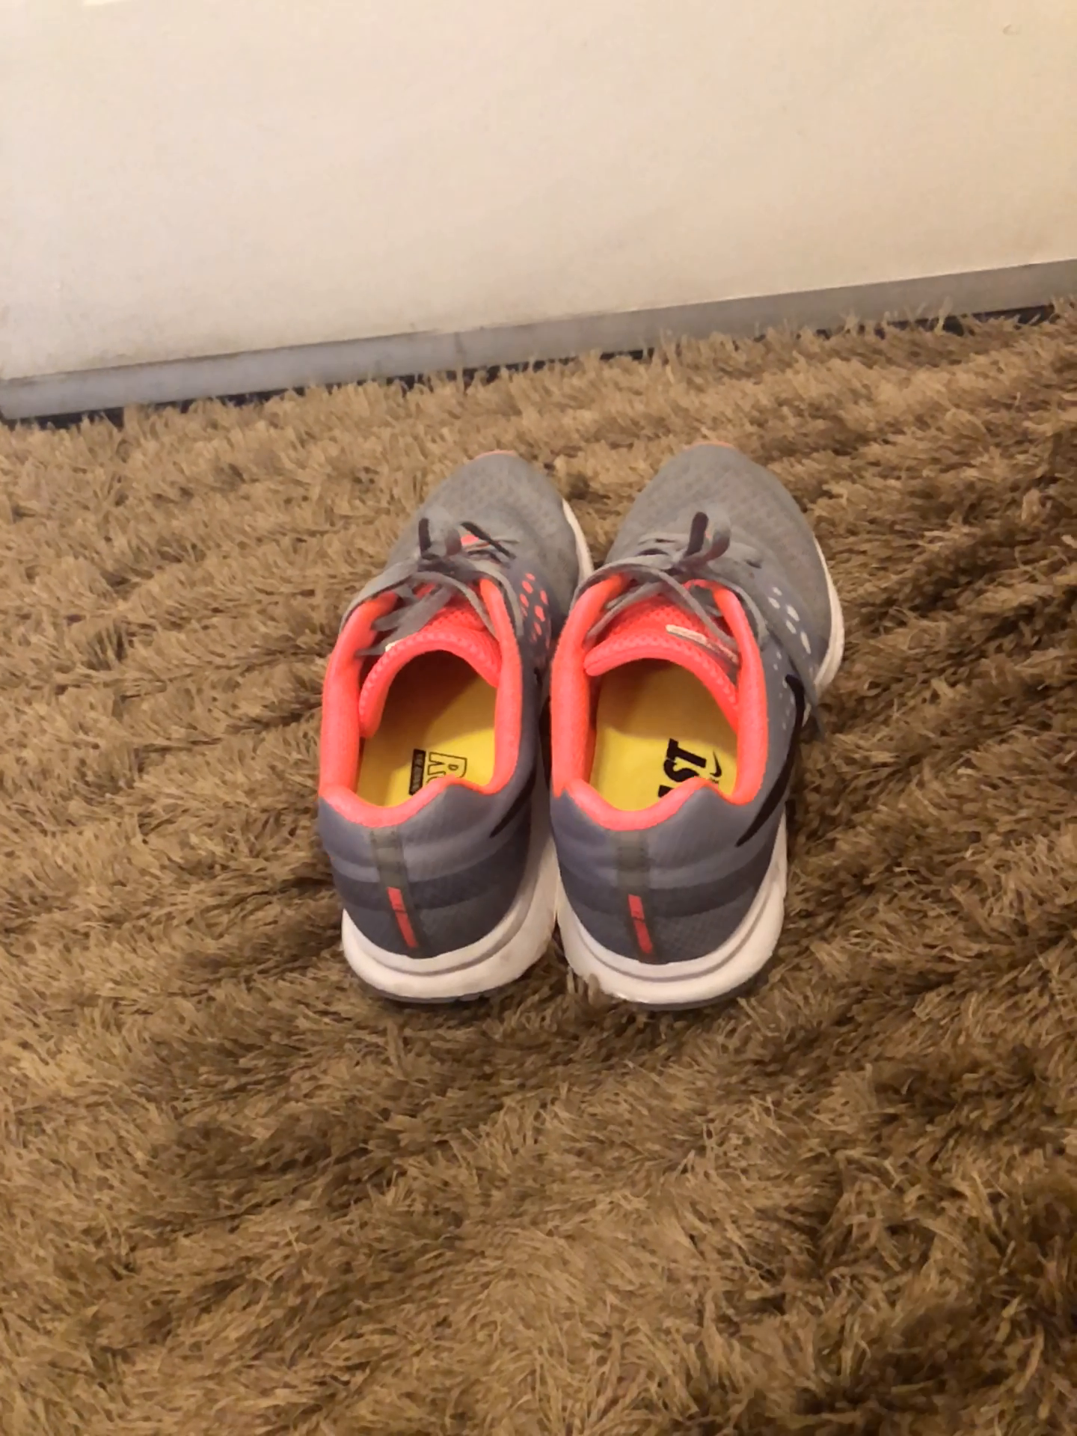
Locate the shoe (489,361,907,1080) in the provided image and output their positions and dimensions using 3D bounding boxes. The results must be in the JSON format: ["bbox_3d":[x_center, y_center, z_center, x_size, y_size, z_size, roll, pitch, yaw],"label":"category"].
[{"bbox_3d":[0.067,-0.013,0.473,0.118,0.119,0.271,-1,47,10],"label":"shoe"}]

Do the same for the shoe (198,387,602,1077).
[{"bbox_3d":[-0.038,-0.006,0.499,0.113,0.121,0.271,-5,46,7],"label":"shoe"}]
